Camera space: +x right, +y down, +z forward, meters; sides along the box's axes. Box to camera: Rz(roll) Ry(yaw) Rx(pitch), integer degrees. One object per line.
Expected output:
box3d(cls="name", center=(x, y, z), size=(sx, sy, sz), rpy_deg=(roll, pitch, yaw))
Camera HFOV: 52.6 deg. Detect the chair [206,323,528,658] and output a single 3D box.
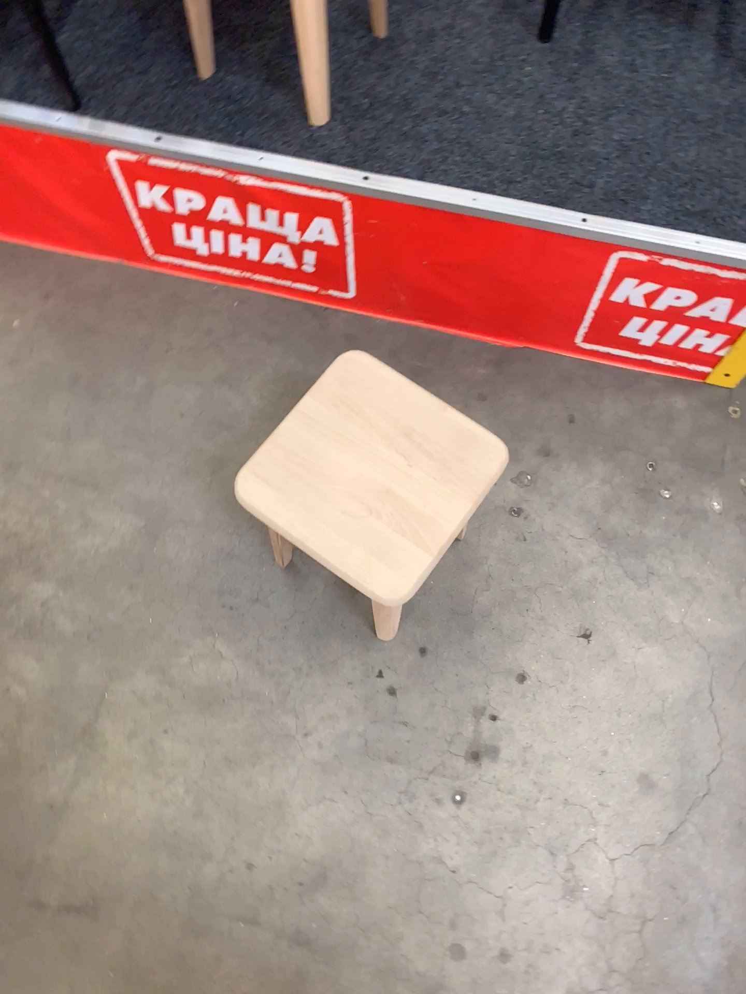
box3d(cls="chair", center=(-0.005, 0.005, 0.958), size=(0.260, 0.260, 0.250), rpy_deg=(35, 73, 12))
